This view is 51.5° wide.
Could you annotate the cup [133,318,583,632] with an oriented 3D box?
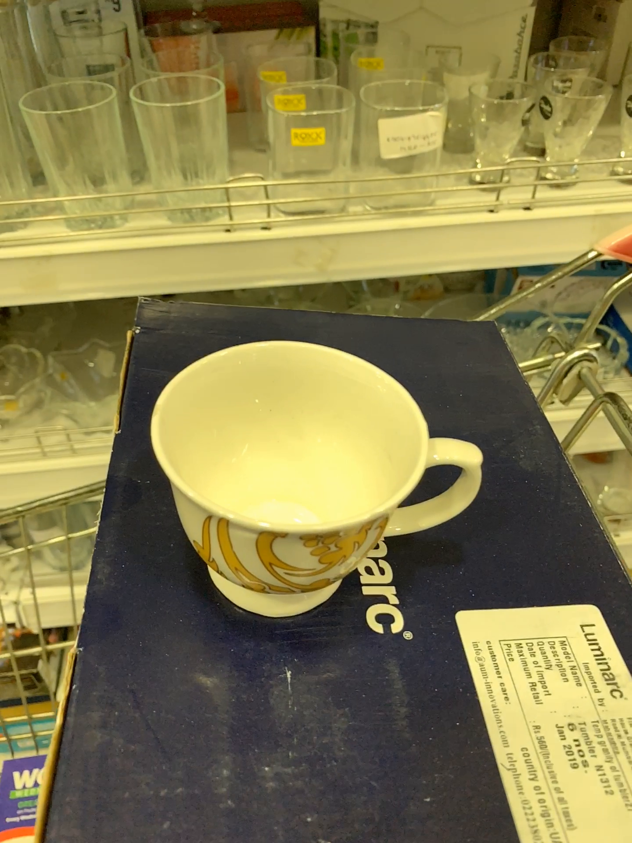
[{"bbox_3d":[0.007,0.011,0.169,0.090,0.040,0.070,1,43,-5],"label":"cup"}]
